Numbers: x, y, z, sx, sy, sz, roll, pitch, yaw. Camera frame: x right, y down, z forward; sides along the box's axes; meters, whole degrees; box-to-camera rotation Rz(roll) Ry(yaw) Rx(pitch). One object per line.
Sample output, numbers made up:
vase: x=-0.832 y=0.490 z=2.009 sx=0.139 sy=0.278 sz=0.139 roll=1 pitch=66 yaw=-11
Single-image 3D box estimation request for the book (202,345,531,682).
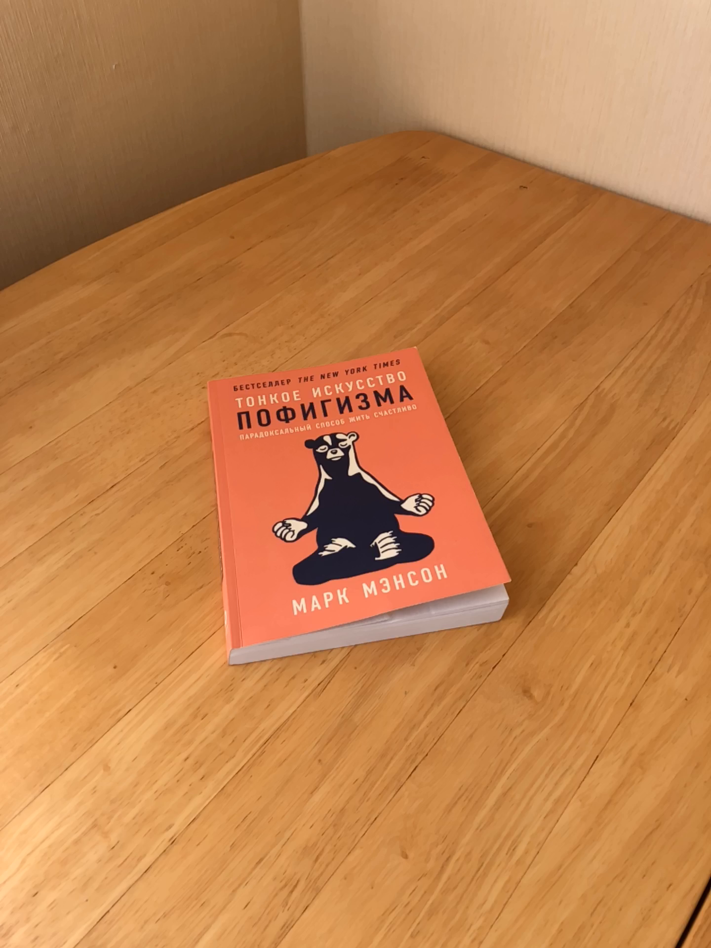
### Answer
book: x=-0.006 y=0.009 z=0.444 sx=0.143 sy=0.033 sz=0.197 roll=-8 pitch=47 yaw=-7
